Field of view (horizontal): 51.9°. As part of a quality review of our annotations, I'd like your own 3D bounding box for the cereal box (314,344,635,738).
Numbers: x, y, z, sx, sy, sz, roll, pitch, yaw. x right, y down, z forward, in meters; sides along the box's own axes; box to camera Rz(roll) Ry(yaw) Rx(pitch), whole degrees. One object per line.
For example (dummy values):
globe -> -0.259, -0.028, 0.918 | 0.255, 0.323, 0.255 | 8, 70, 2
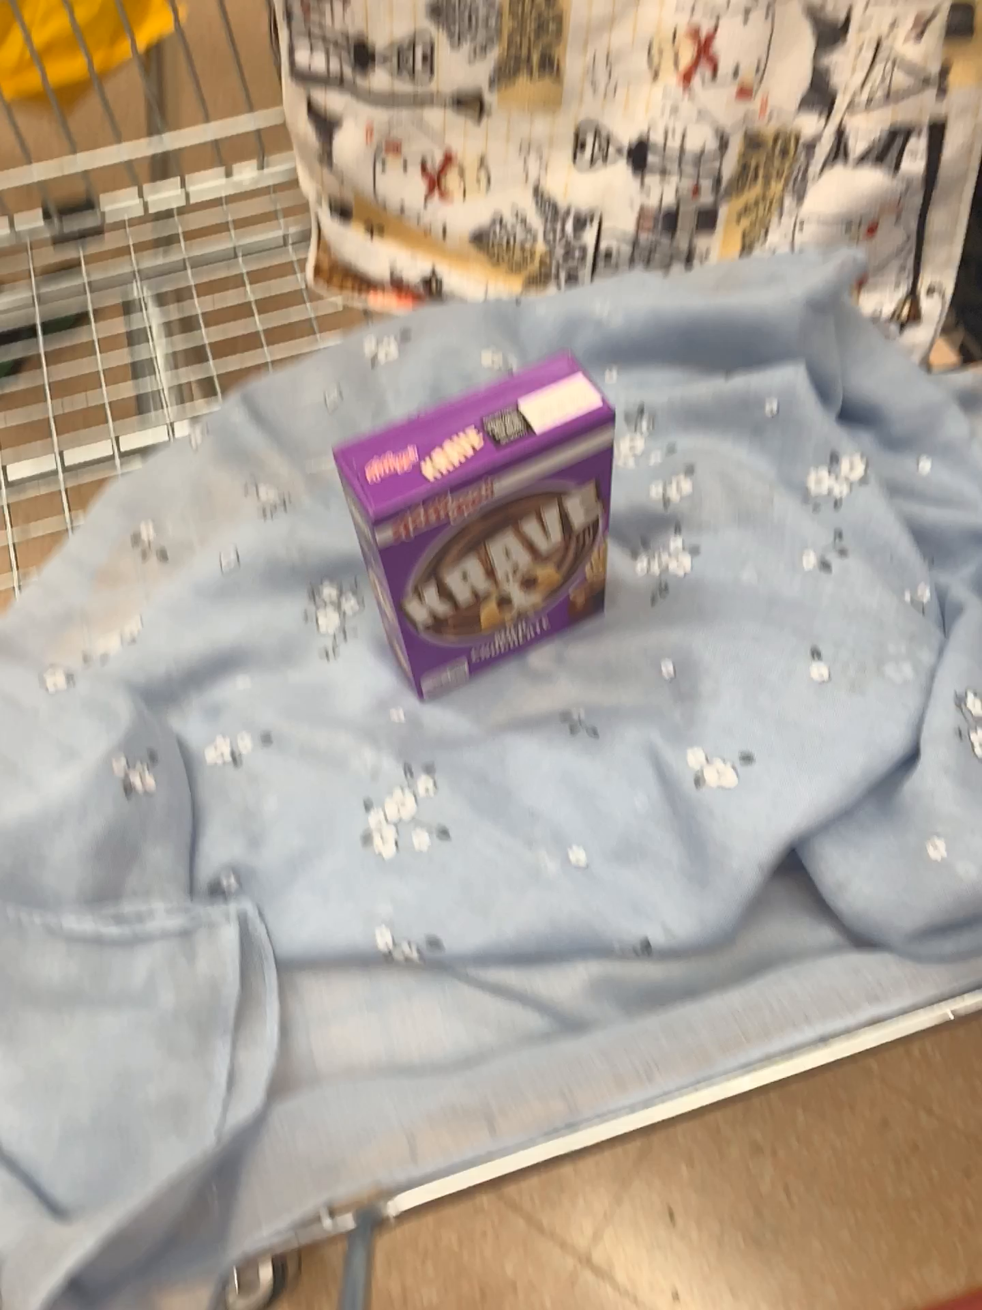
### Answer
cereal box -> -0.001, -0.034, 0.364 | 0.090, 0.129, 0.040 | -25, 60, -10
